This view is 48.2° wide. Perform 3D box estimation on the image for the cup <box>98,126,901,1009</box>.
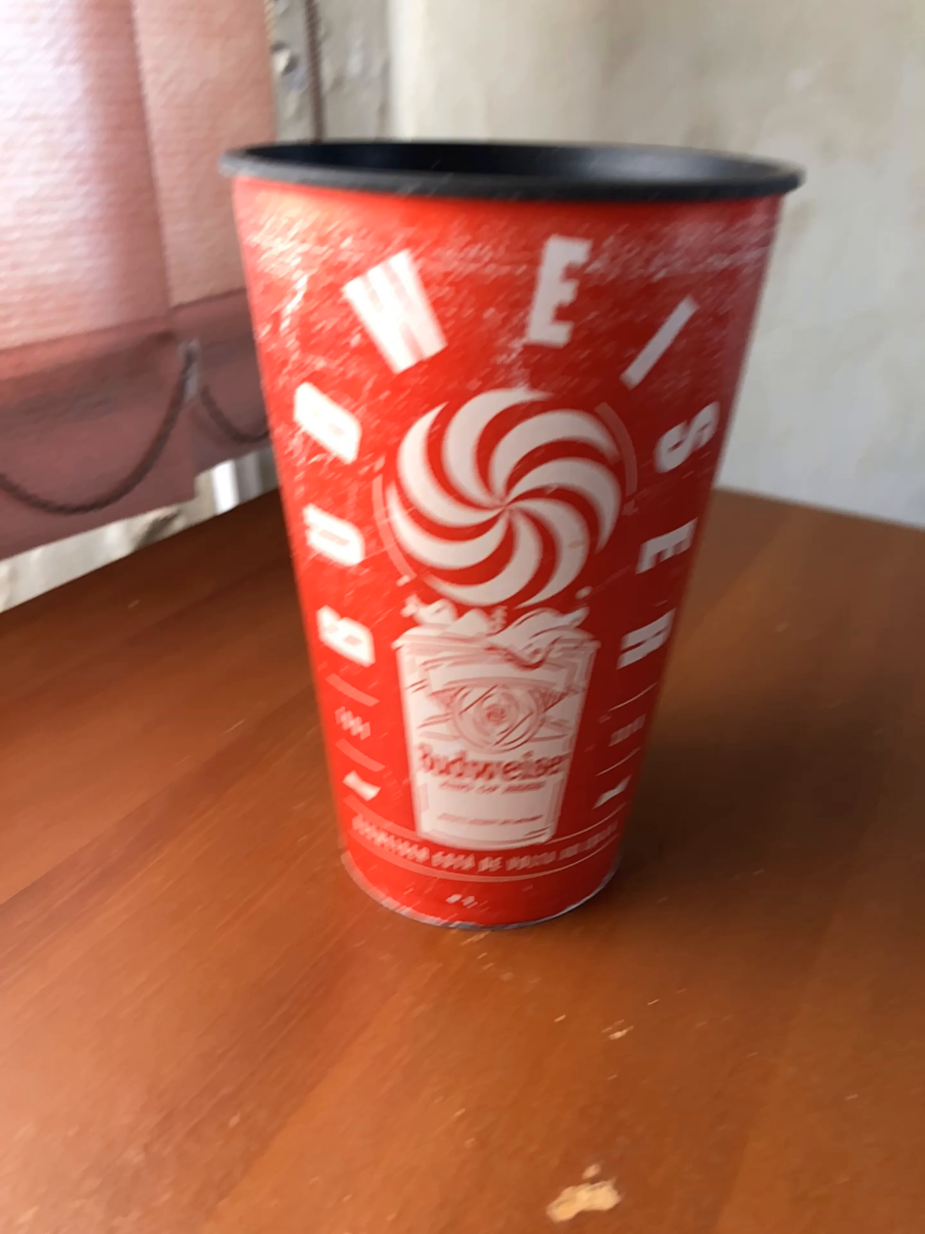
[{"bbox_3d":[0.003,-0.015,0.200,0.100,0.139,0.091,-3,28,-5],"label":"cup"}]
